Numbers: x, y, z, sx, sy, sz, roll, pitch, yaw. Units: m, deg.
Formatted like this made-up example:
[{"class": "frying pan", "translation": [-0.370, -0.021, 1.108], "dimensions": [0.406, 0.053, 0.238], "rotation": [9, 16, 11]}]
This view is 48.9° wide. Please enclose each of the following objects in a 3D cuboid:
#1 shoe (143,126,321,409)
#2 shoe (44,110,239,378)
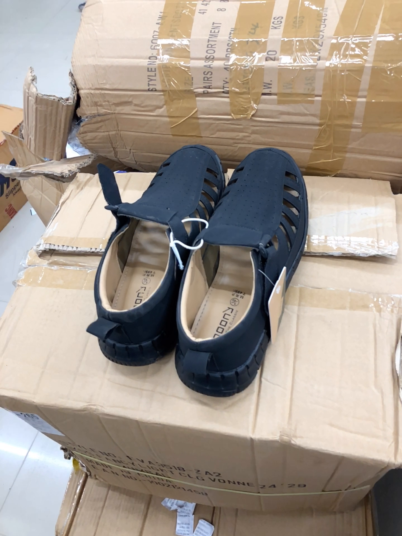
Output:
[{"class": "shoe", "translation": [0.048, -0.017, 0.449], "dimensions": [0.100, 0.100, 0.271], "rotation": [10, 55, 16]}, {"class": "shoe", "translation": [-0.041, -0.042, 0.475], "dimensions": [0.110, 0.100, 0.281], "rotation": [6, 54, 14]}]
